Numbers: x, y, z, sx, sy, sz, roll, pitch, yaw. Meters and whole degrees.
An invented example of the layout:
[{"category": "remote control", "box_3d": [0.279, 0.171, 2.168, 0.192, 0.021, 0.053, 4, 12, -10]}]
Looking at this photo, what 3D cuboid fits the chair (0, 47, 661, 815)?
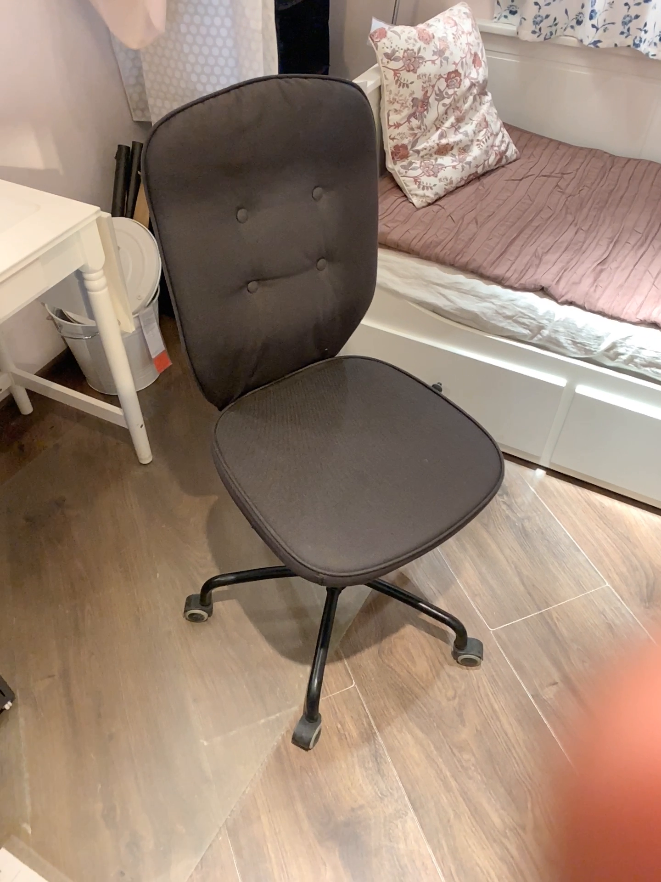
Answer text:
[{"category": "chair", "box_3d": [0.023, -0.015, 1.190, 0.651, 0.947, 0.732, -31, 54, -27]}]
